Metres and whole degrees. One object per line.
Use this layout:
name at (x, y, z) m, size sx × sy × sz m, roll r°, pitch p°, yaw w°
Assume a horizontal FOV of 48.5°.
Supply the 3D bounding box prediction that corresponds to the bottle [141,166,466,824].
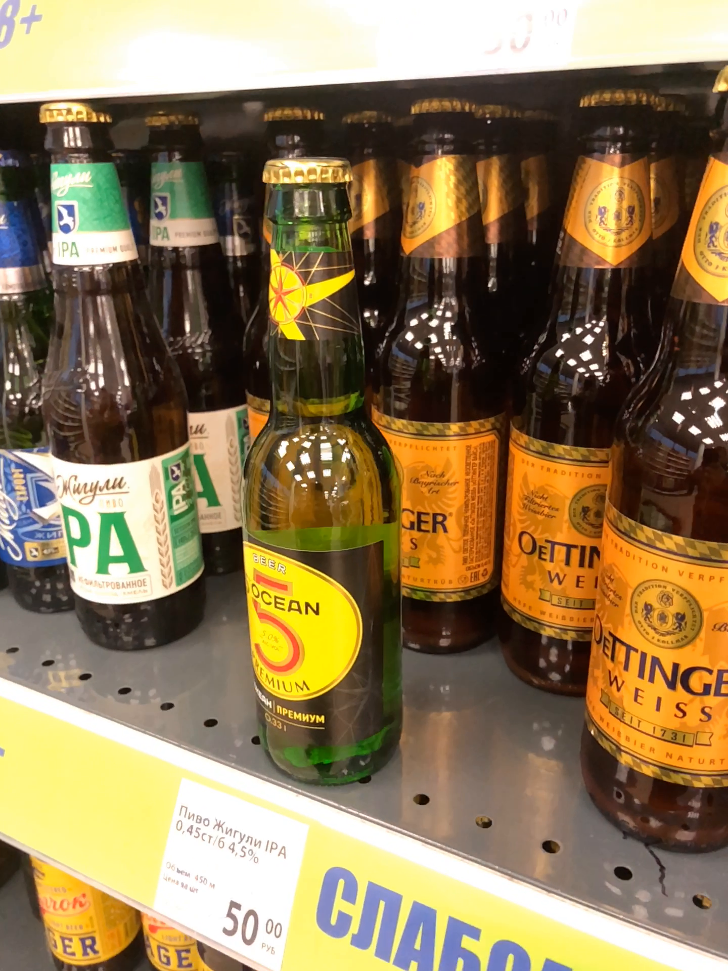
bottle at (-0.014, 0.002, 0.285) m, size 0.070 × 0.210 × 0.070 m, roll -2°, pitch 23°, yaw 1°
